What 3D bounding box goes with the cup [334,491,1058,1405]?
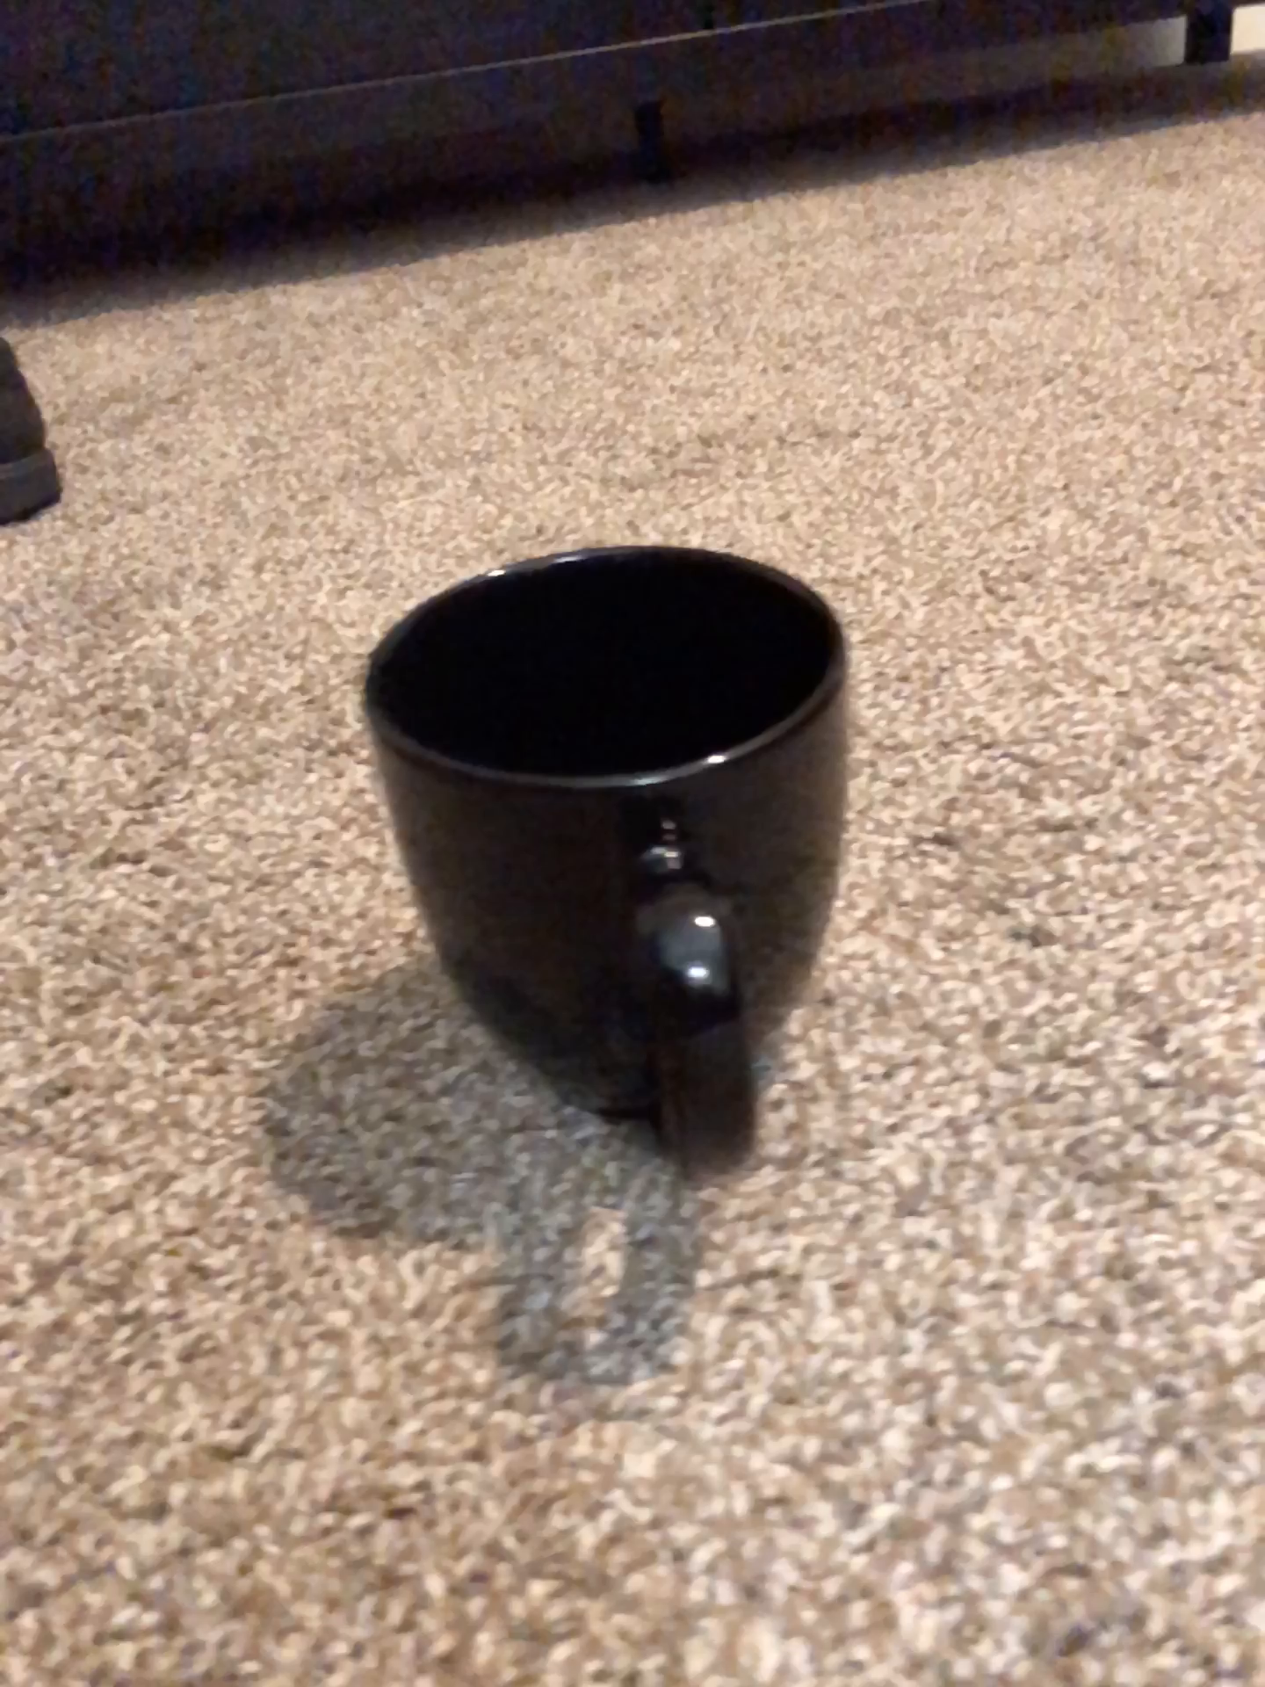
[{"bbox_3d":[0.003,0.006,0.264,0.090,0.090,0.141,-13,33,-7],"label":"cup"}]
